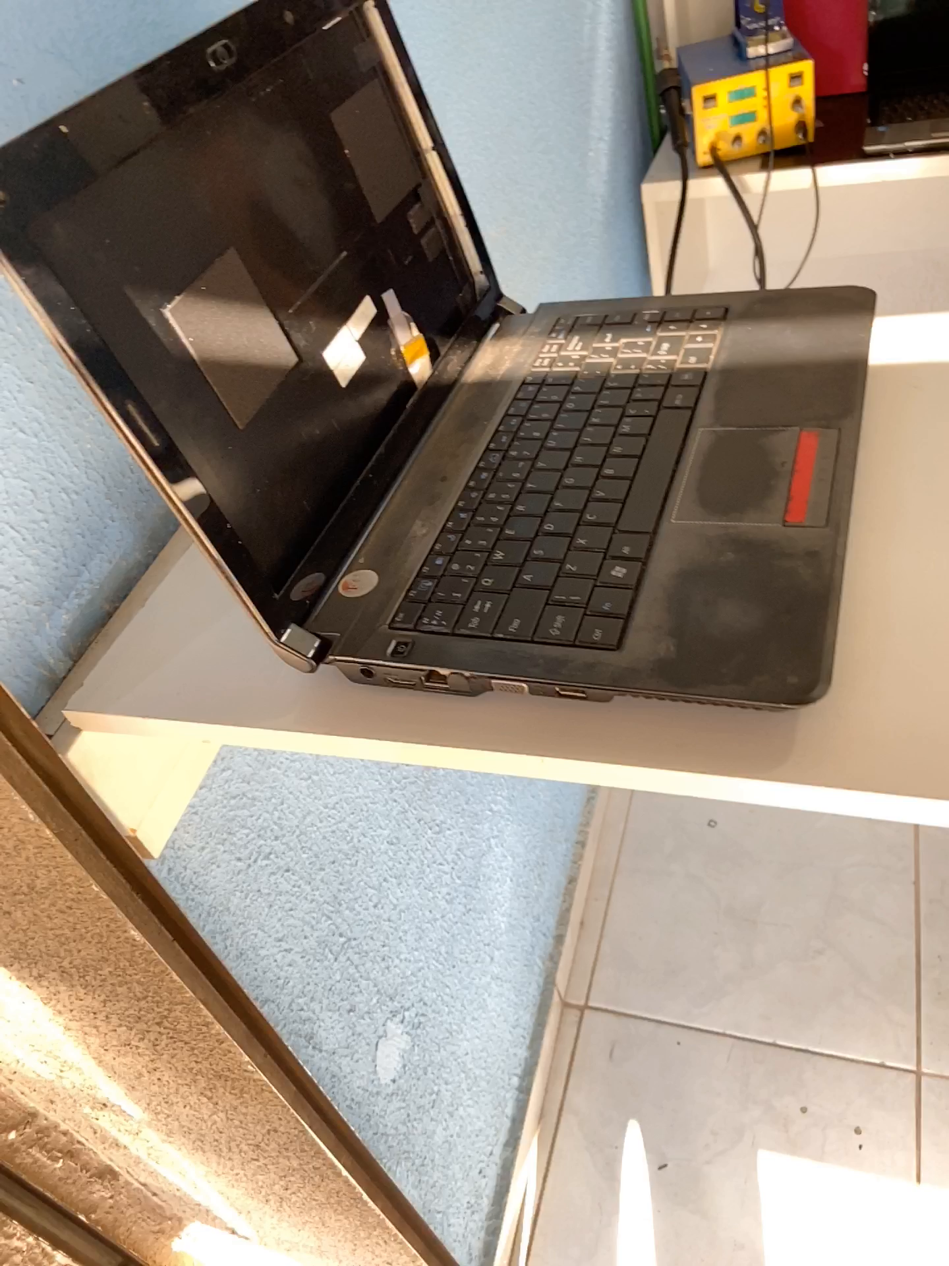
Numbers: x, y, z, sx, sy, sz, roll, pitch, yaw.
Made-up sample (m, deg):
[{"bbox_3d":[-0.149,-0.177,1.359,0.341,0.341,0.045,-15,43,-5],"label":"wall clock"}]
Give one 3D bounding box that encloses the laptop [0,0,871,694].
[{"bbox_3d":[0.027,-0.178,0.460,0.276,0.216,0.336,4,44,22],"label":"laptop"}]
